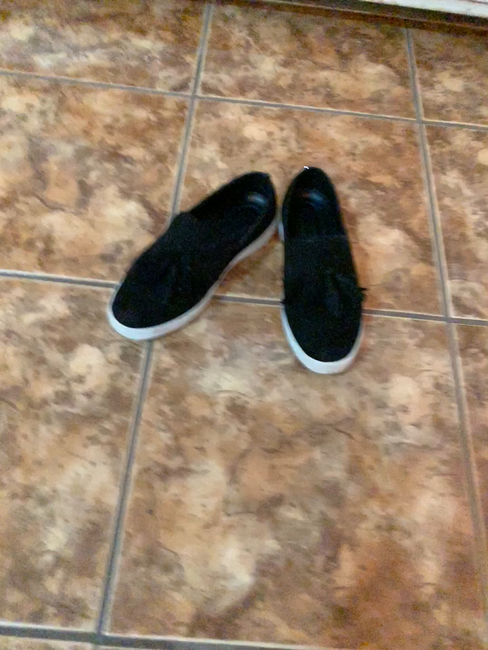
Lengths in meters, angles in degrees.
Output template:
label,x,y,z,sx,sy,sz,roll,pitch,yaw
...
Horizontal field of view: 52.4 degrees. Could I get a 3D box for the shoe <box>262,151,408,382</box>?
label,x,y,z,sx,sy,sz,roll,pitch,yaw
shoe,0.090,-0.072,0.562,0.097,0.094,0.250,-3,61,-7

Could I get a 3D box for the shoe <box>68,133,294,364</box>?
label,x,y,z,sx,sy,sz,roll,pitch,yaw
shoe,-0.060,-0.092,0.558,0.097,0.094,0.250,34,63,13
